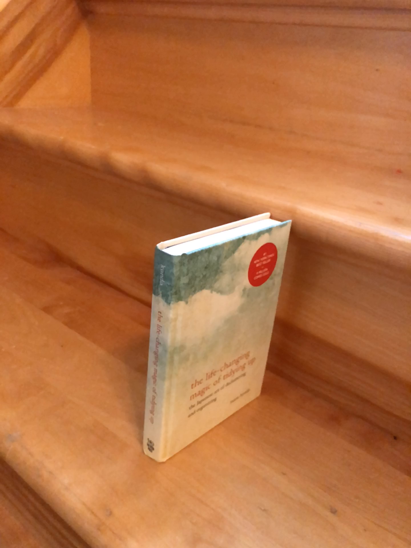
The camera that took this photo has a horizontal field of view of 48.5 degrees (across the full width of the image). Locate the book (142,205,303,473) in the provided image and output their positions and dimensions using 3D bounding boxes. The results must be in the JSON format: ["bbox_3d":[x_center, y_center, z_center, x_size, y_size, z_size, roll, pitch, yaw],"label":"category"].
[{"bbox_3d":[0.014,0.052,0.388,0.027,0.199,0.140,27,33,37],"label":"book"}]
